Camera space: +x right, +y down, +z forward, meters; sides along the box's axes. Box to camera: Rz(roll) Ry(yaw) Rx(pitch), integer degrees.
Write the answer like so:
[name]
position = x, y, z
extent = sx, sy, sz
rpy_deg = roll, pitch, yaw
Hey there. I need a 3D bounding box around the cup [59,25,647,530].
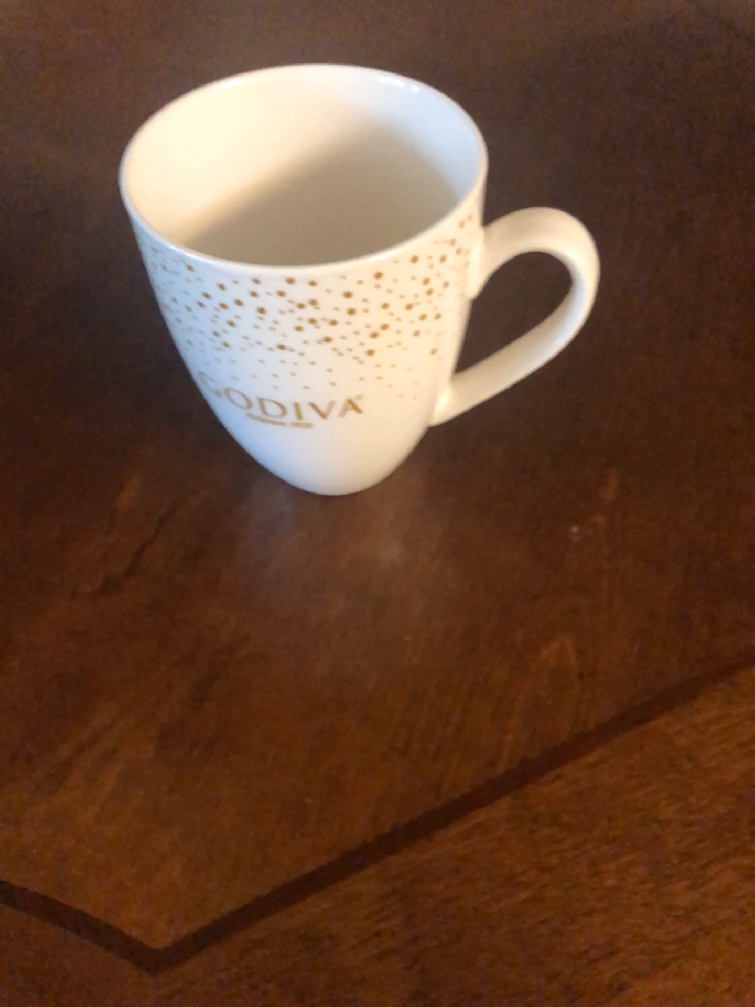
[cup]
position = 0.001, -0.070, 0.266
extent = 0.140, 0.099, 0.100
rpy_deg = 8, 56, 7
